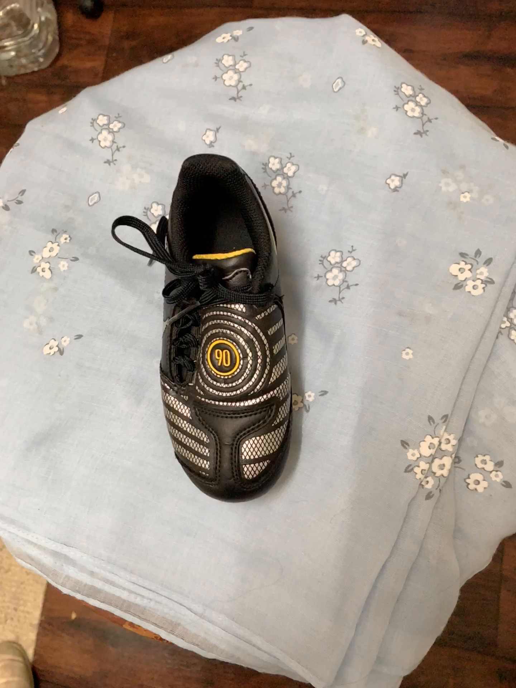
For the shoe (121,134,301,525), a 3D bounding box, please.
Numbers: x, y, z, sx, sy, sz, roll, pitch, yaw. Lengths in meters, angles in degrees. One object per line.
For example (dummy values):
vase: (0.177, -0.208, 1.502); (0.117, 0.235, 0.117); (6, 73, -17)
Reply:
shoe: (-0.020, -0.007, 0.294); (0.080, 0.070, 0.190); (-1, 81, 8)
